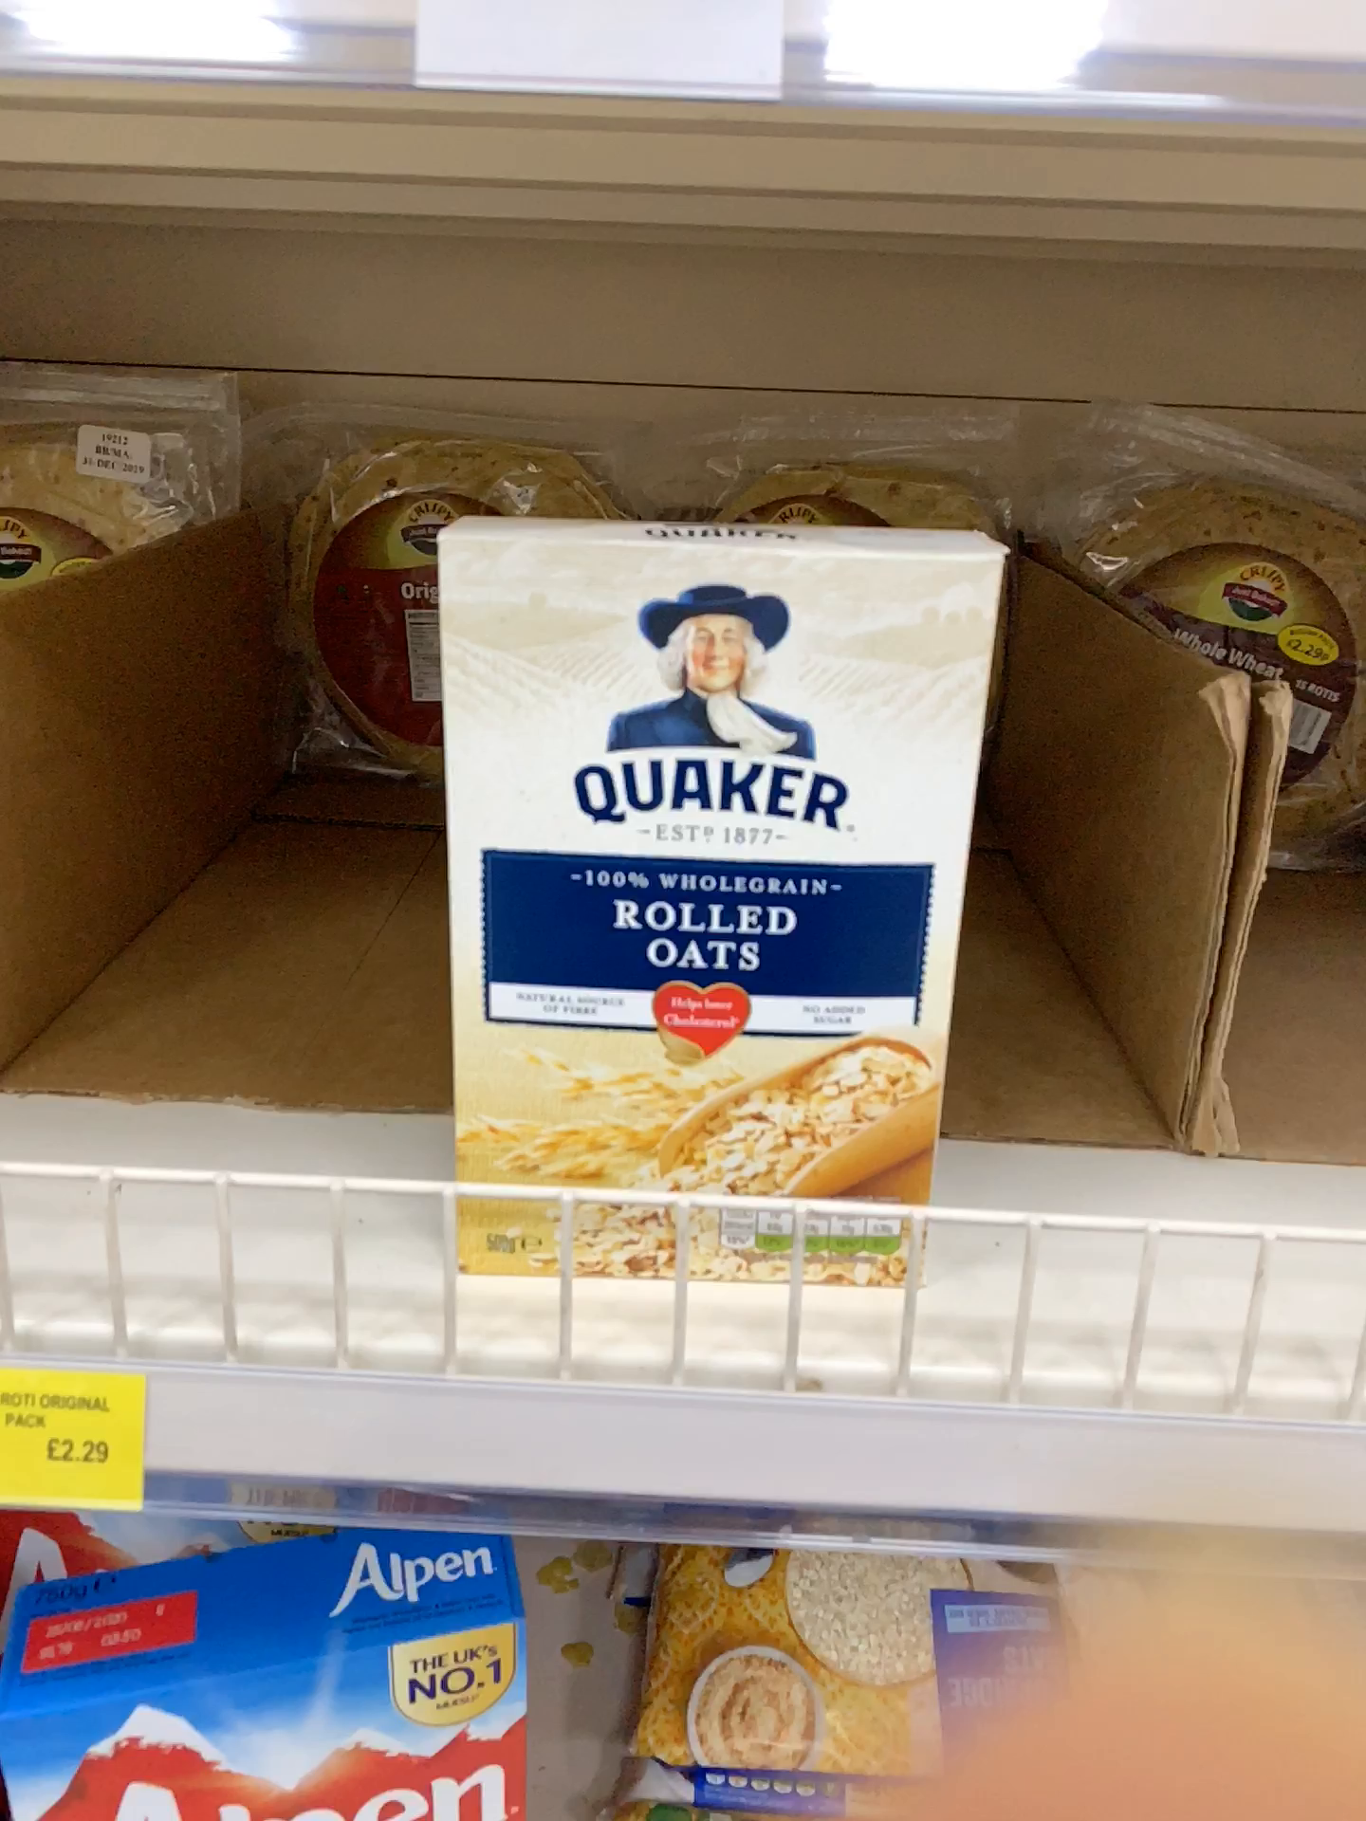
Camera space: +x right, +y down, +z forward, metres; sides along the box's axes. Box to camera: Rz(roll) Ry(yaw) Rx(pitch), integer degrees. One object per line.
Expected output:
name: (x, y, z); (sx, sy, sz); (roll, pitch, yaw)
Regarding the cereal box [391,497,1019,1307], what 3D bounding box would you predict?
cereal box: (0.002, 0.001, 0.399); (0.150, 0.218, 0.060); (2, 20, 0)
